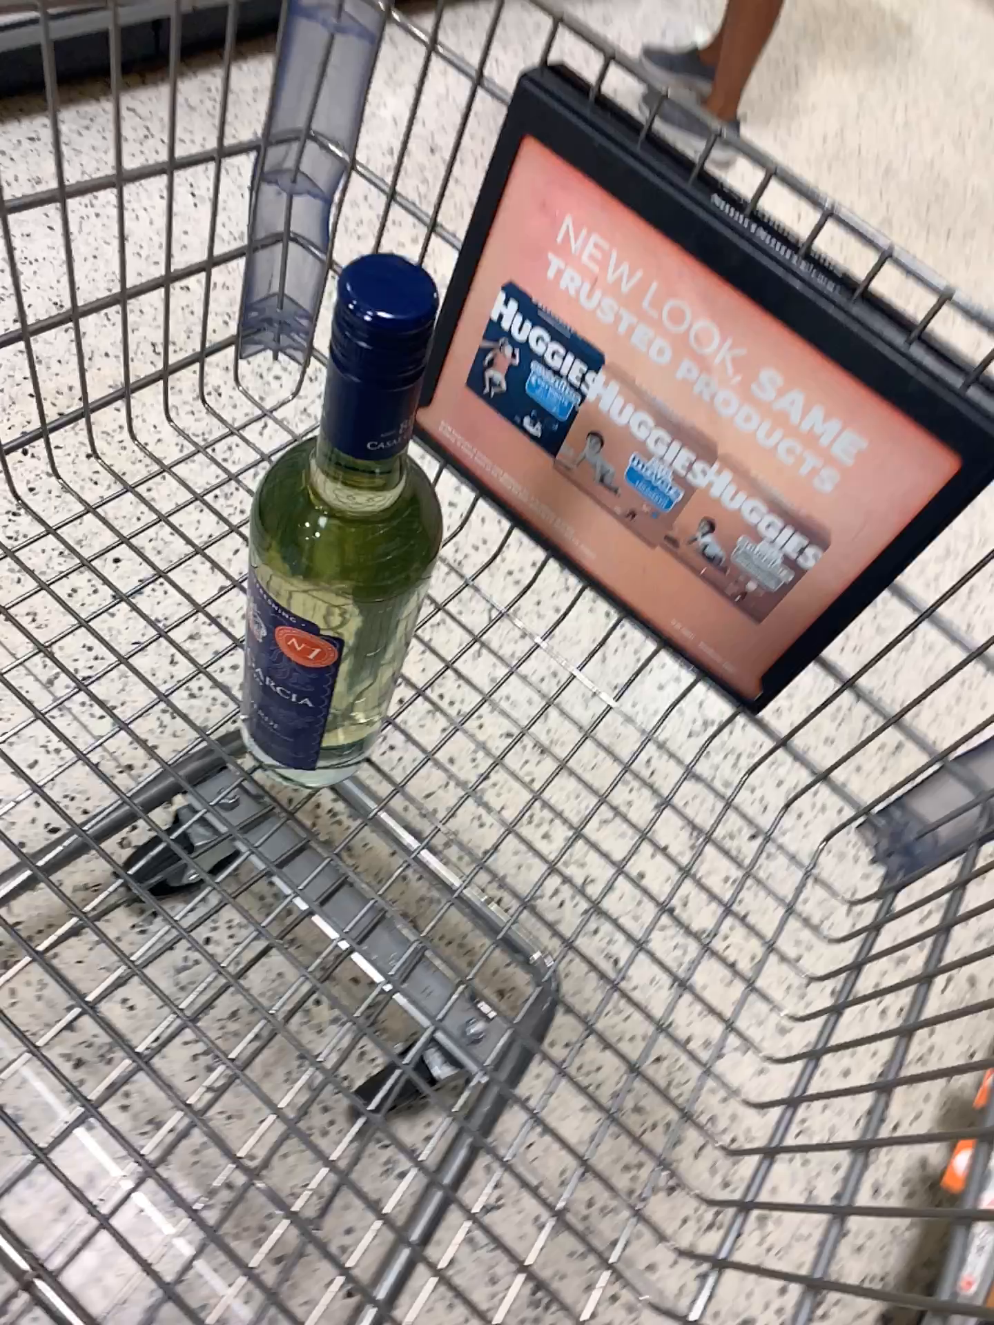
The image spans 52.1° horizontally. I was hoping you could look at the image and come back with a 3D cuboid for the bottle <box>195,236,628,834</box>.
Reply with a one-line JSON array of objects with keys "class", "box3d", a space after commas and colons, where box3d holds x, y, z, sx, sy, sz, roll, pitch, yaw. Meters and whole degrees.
[{"class": "bottle", "box3d": [-0.058, -0.030, 0.428, 0.080, 0.277, 0.090, -21, 70, -30]}]
